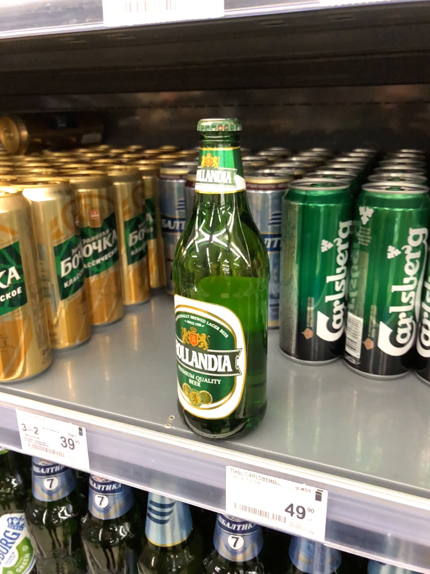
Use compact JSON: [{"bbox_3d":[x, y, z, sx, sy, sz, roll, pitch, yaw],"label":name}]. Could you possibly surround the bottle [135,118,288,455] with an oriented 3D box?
[{"bbox_3d":[-0.001,-0.003,0.329,0.070,0.211,0.063,15,25,38],"label":"bottle"}]
